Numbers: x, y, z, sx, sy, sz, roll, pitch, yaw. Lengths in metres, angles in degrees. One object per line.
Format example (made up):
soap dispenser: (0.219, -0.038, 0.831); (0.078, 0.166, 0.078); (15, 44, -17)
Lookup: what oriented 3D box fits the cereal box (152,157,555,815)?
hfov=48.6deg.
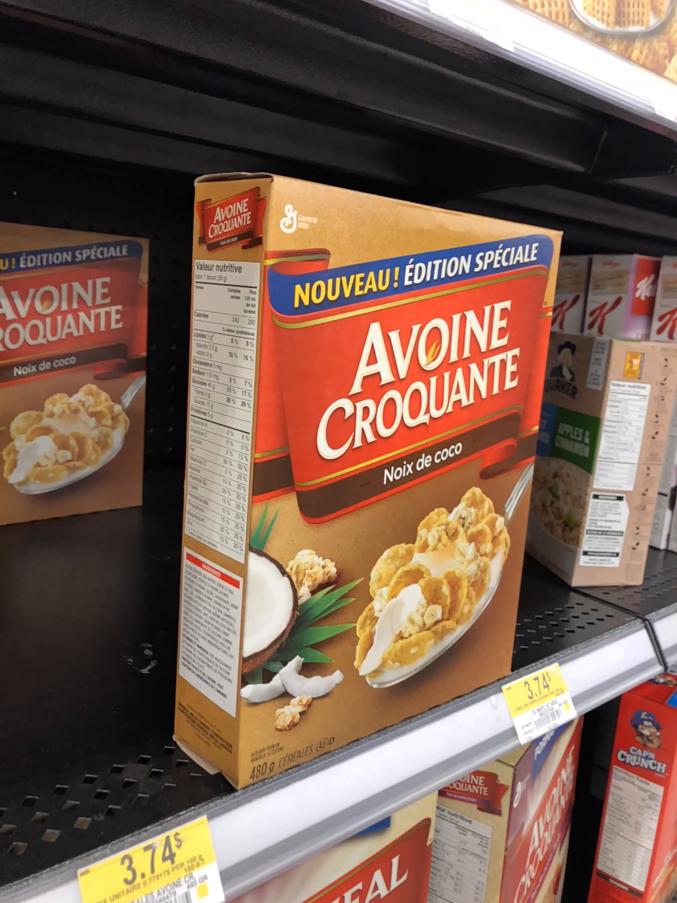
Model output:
cereal box: (0.013, 0.012, 0.381); (0.200, 0.269, 0.050); (-5, 14, -40)
